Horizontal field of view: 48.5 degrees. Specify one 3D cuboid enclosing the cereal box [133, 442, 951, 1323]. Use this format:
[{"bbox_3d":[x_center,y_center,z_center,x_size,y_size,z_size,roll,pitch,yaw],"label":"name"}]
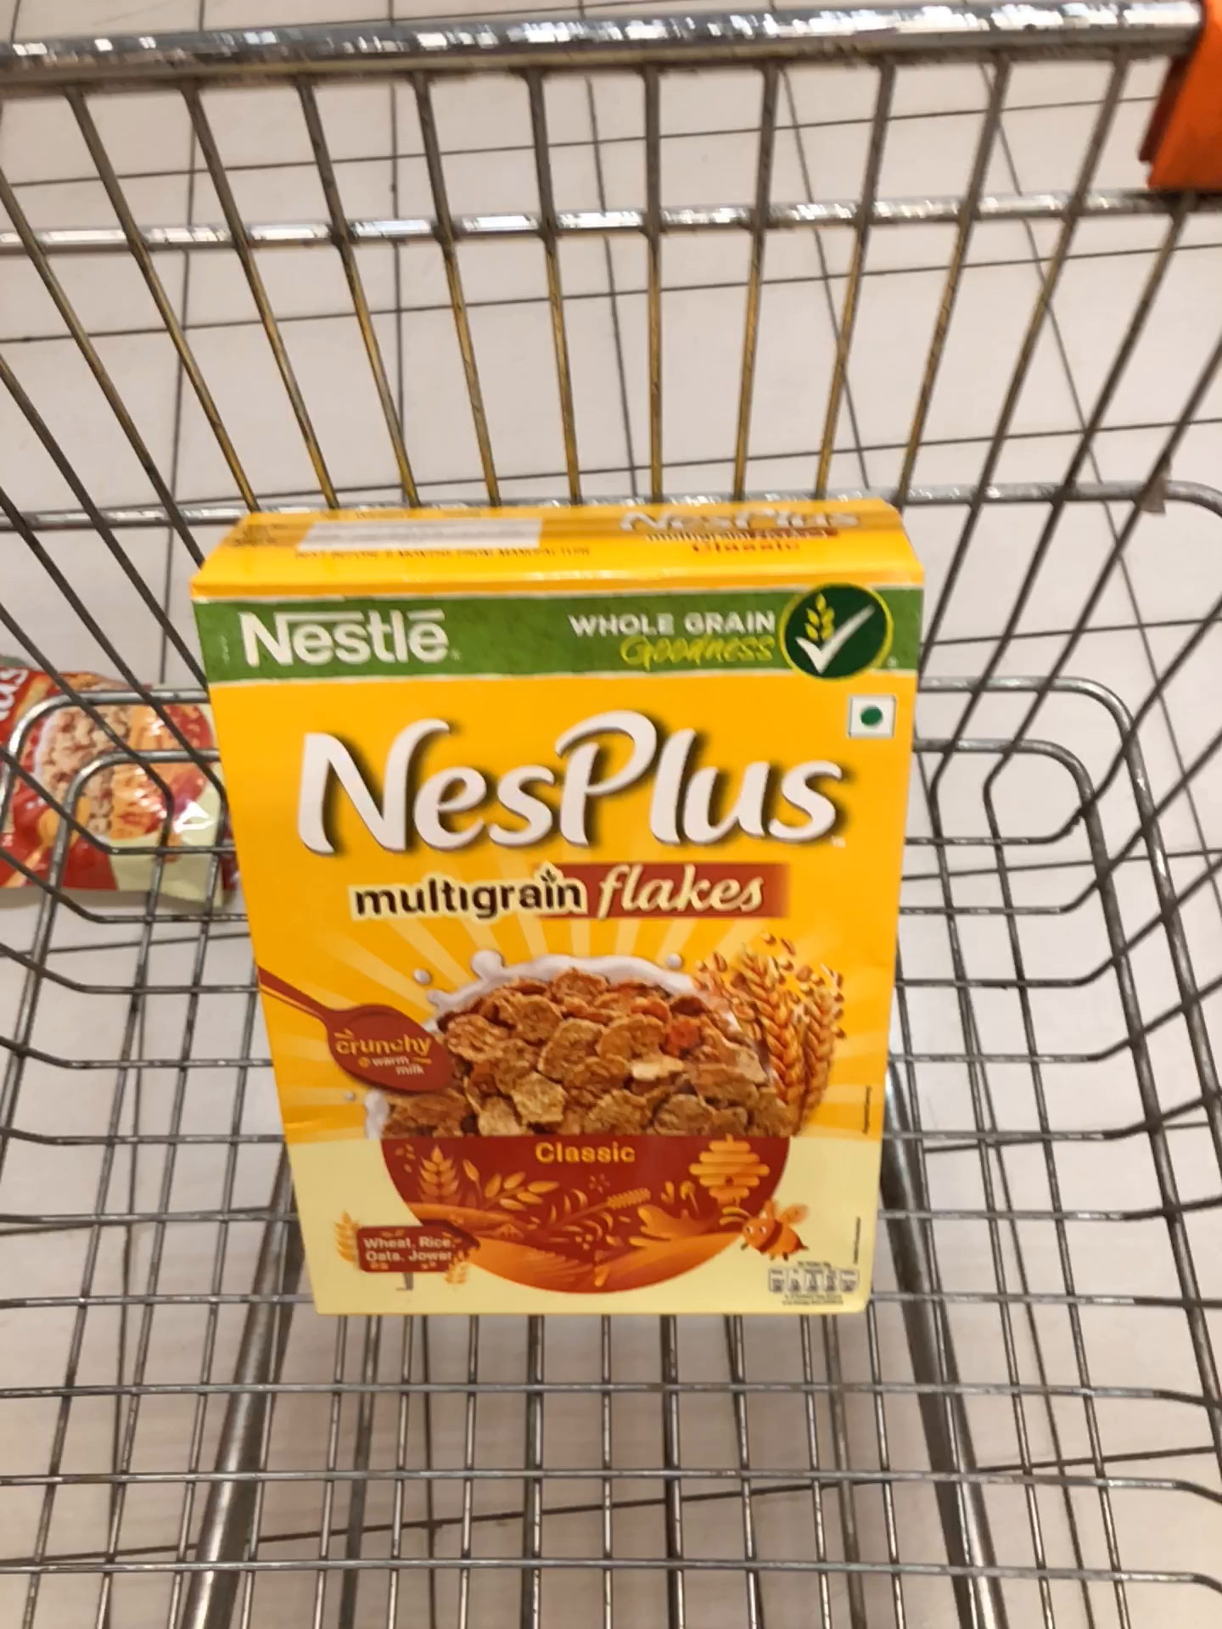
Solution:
[{"bbox_3d":[-0.013,0.025,0.408,0.190,0.249,0.090,-1,25,1],"label":"cereal box"}]
